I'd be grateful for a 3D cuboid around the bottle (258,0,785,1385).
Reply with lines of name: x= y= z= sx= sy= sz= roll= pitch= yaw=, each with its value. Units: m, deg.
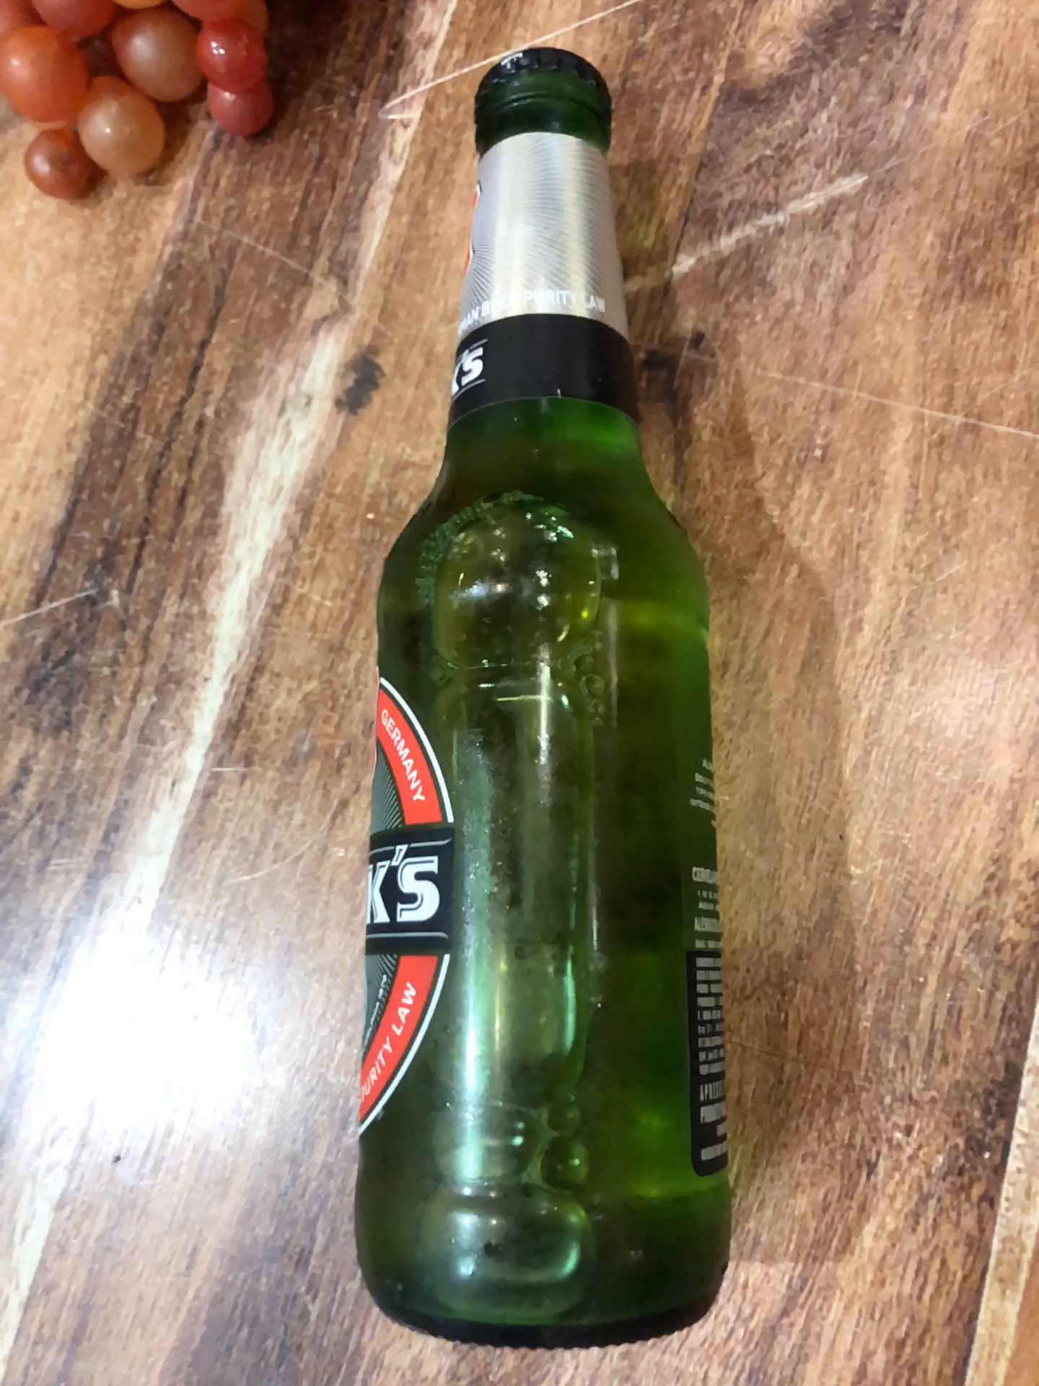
bottle: x=0.005 y=-0.014 z=0.208 sx=0.070 sy=0.060 sz=0.230 roll=-2 pitch=76 yaw=11
